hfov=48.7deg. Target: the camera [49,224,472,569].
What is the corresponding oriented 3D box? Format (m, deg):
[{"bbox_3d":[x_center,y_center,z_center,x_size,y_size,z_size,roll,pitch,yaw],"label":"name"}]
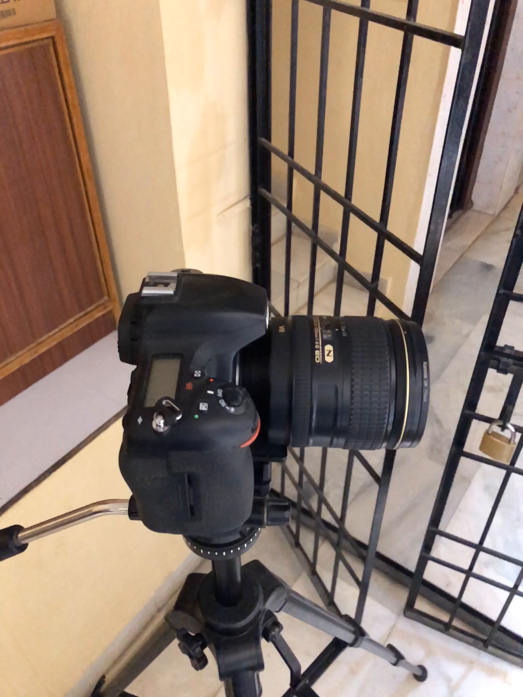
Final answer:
[{"bbox_3d":[0.002,0.017,0.332,0.171,0.105,0.171,1,39,2],"label":"camera"}]
